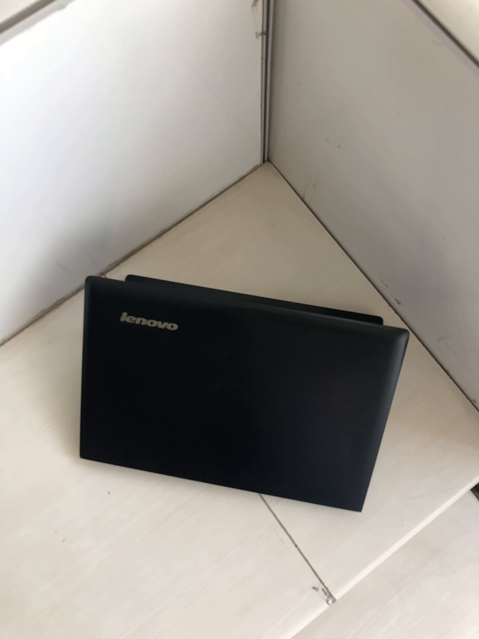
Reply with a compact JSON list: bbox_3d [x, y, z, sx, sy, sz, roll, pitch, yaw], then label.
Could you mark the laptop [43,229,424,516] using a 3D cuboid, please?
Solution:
[{"bbox_3d":[-0.003,0.069,0.658,0.374,0.162,0.252,10,81,4],"label":"laptop"}]
